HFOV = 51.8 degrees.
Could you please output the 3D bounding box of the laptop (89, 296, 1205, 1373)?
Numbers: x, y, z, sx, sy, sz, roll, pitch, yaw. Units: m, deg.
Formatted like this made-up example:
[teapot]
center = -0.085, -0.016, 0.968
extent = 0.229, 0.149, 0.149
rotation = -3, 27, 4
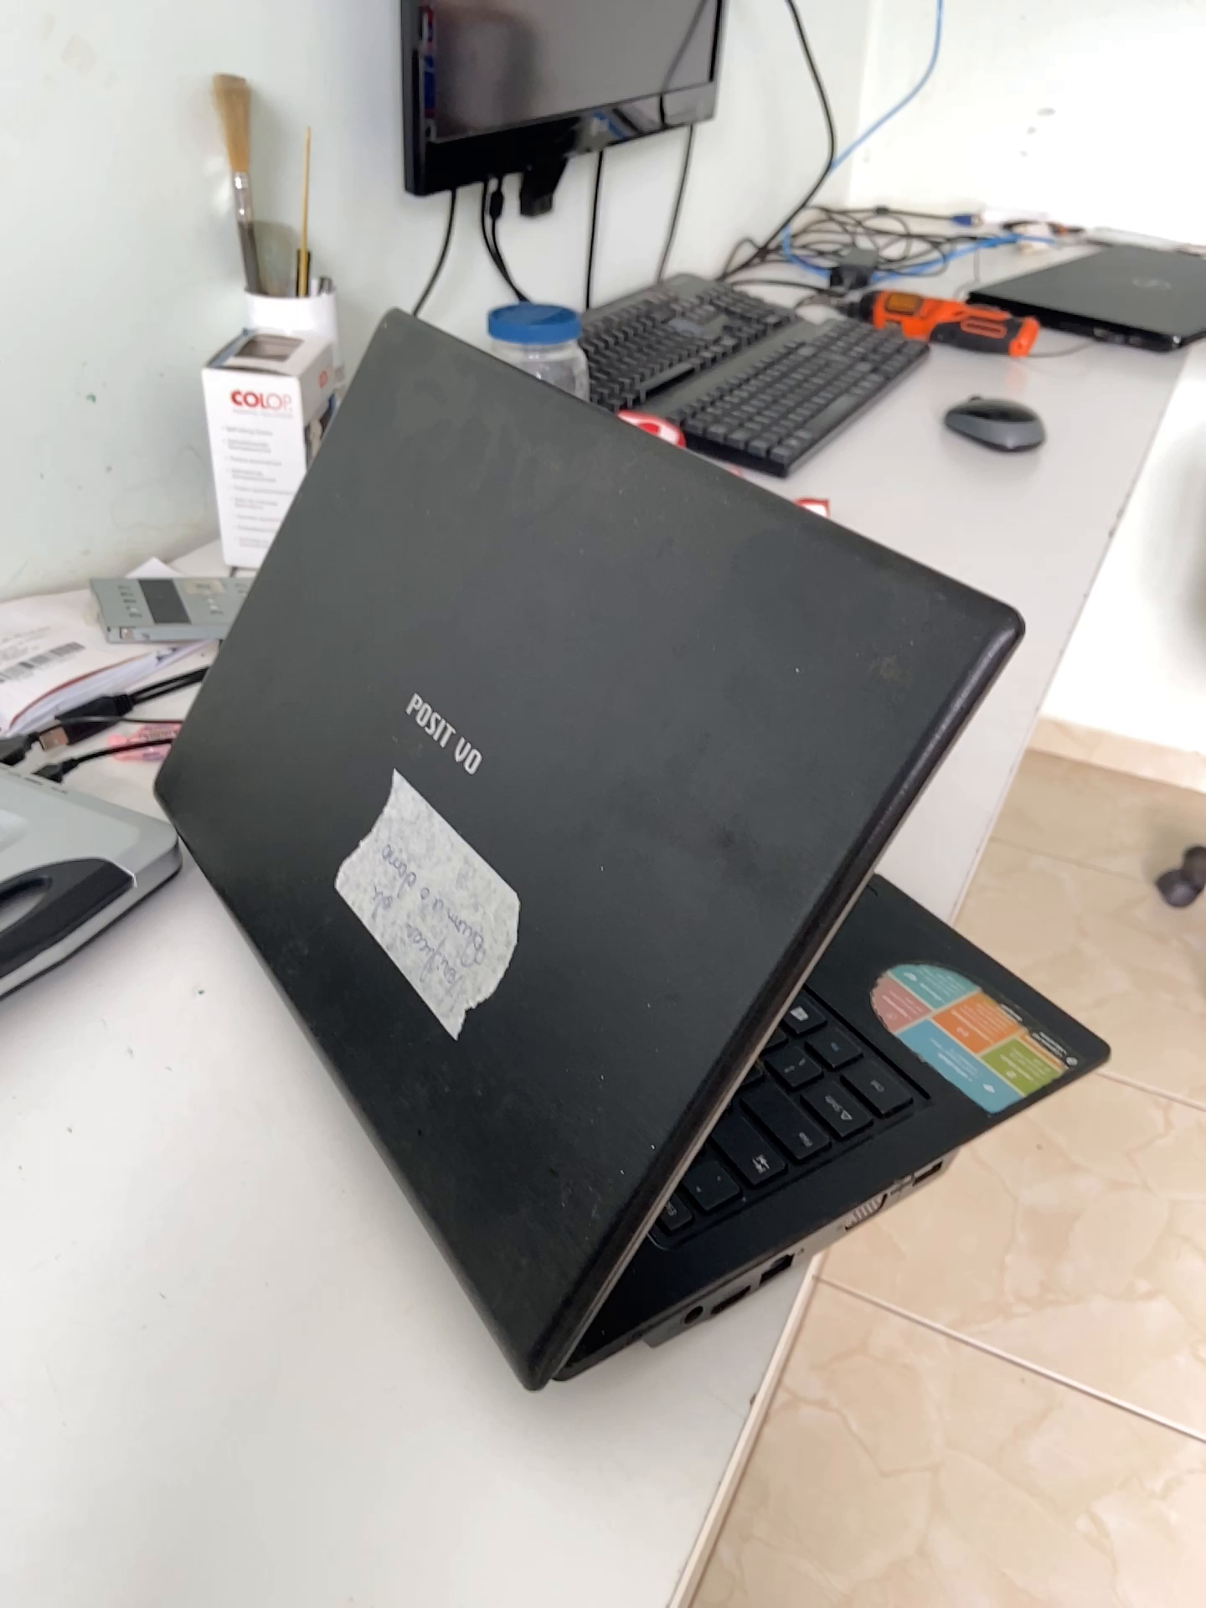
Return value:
[laptop]
center = -0.002, -0.040, 0.447
extent = 0.233, 0.189, 0.331
rotation = -18, 39, -28
